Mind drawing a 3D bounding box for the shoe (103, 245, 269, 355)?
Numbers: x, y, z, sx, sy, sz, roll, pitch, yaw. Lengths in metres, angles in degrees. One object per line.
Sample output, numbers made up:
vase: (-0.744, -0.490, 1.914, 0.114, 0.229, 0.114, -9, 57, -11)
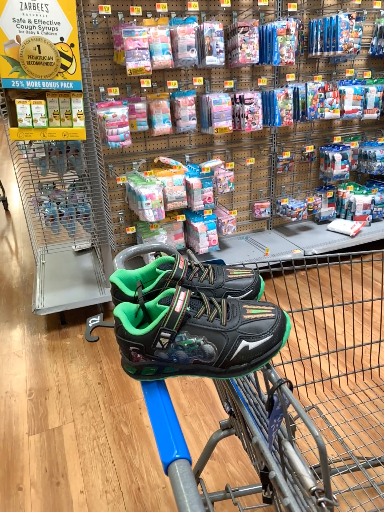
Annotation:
shoe: (-0.007, 0.054, 0.520, 0.194, 0.093, 0.095, -4, 26, -2)

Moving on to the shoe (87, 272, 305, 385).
shoe: (0.006, 0.079, 0.441, 0.213, 0.086, 0.090, -1, 26, 4)
